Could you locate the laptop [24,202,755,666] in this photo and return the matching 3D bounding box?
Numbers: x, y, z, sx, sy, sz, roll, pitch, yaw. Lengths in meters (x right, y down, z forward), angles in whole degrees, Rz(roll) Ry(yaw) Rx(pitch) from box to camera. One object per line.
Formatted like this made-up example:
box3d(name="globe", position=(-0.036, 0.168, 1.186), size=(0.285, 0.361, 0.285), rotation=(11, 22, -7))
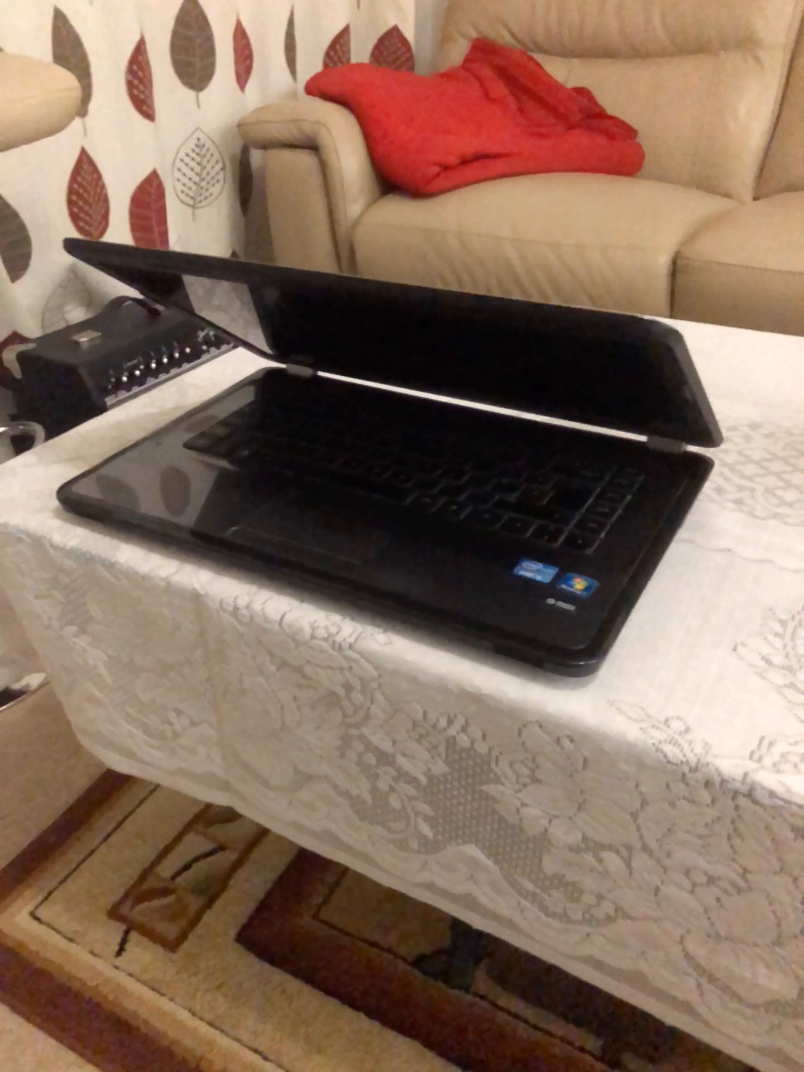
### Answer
box3d(name="laptop", position=(-0.004, -0.099, 0.549), size=(0.360, 0.139, 0.238), rotation=(15, 36, 27))
